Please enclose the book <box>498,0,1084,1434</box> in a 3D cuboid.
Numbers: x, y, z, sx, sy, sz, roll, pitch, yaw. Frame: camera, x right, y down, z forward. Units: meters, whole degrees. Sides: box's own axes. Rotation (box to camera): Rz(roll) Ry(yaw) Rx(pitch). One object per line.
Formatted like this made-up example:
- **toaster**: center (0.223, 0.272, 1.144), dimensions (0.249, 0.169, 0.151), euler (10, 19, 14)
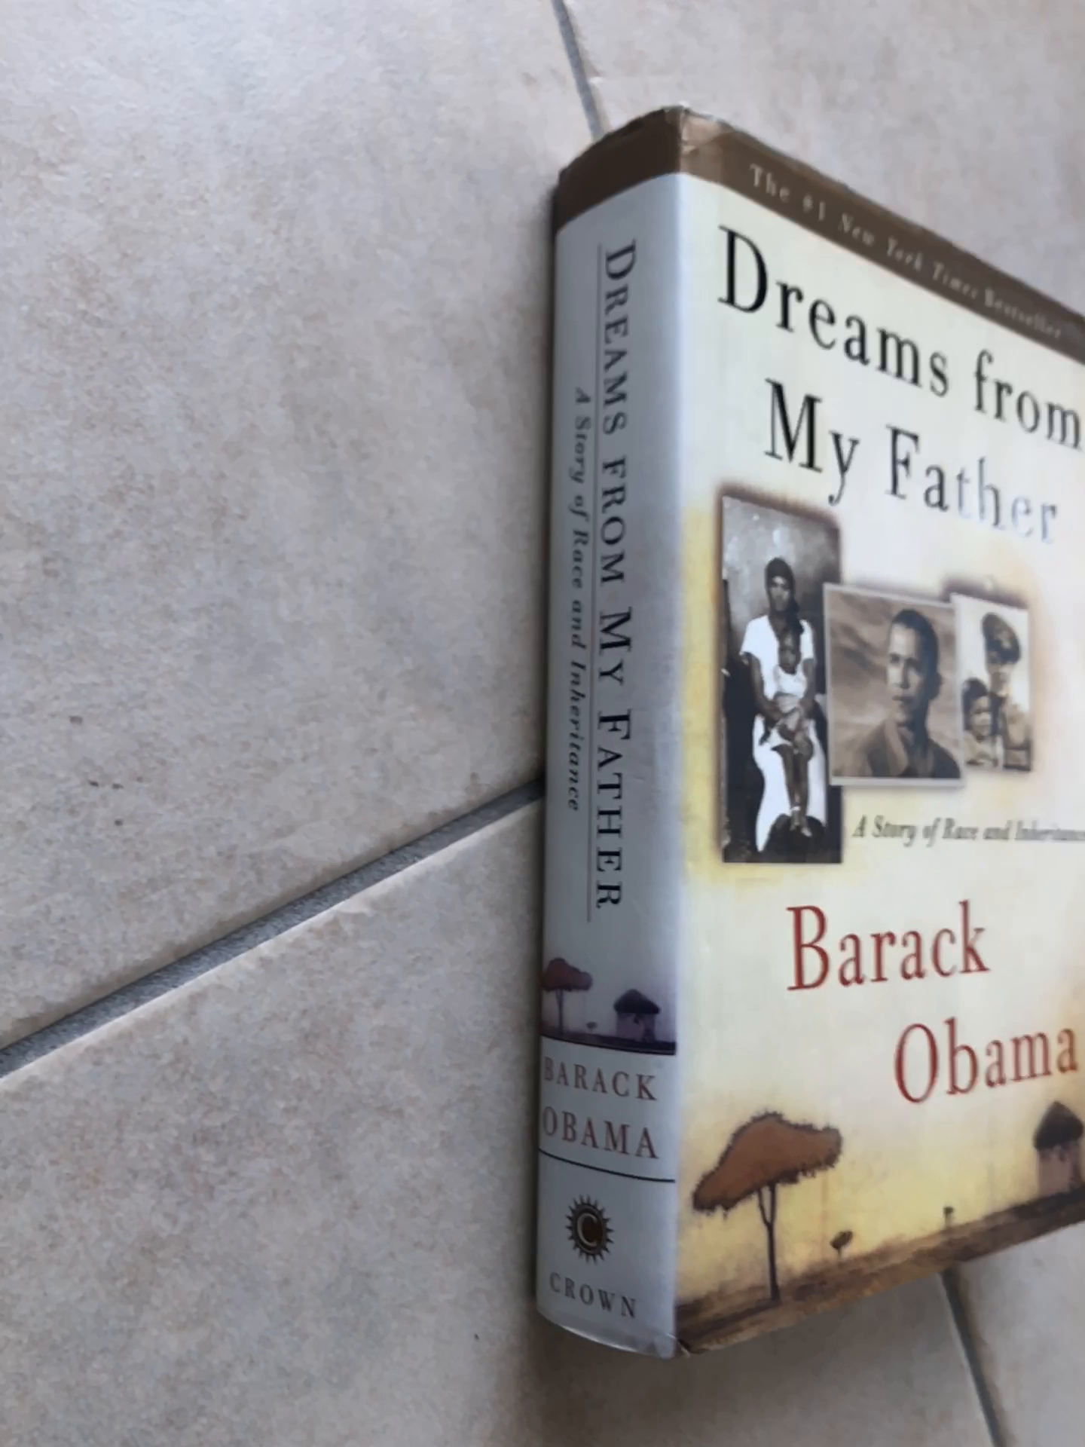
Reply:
- **book**: center (0.077, -0.009, 0.285), dimensions (0.171, 0.050, 0.270), euler (7, 81, -37)
